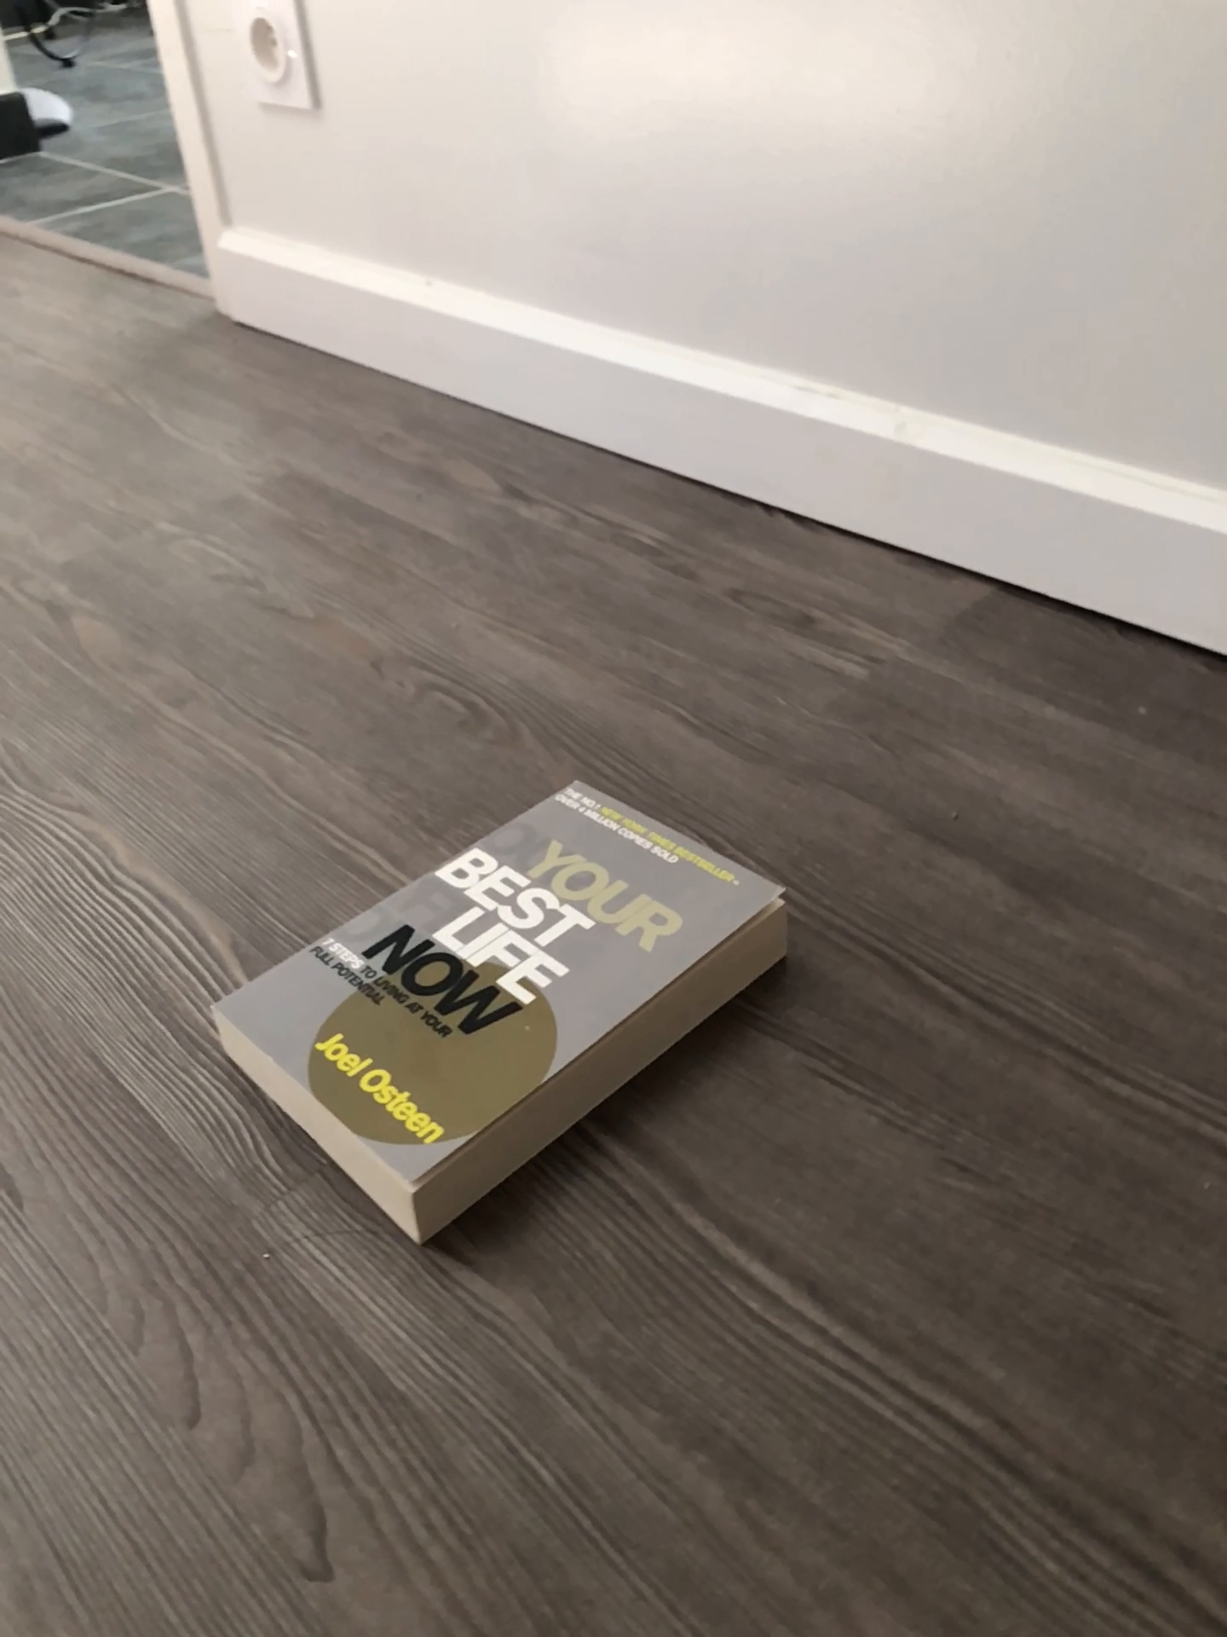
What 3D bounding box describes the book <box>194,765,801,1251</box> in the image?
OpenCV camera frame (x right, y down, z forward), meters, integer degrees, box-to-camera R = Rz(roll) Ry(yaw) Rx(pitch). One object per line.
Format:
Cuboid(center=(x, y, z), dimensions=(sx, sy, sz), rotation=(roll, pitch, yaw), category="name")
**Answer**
Cuboid(center=(-0.042, 0.061, 0.546), dimensions=(0.202, 0.030, 0.136), rotation=(-33, 46, -32), category="book")
